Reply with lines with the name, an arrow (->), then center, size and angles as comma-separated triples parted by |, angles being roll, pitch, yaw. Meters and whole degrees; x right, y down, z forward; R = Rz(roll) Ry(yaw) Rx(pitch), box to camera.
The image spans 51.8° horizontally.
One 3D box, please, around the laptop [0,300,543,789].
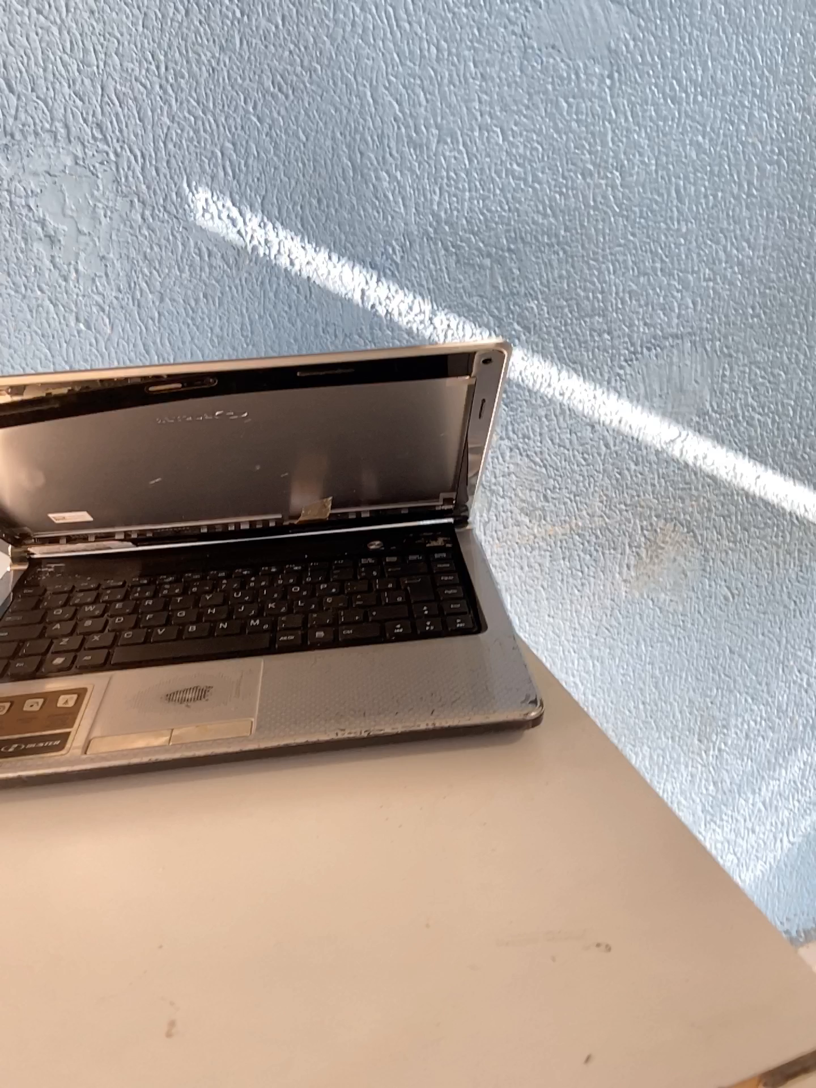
laptop -> -0.112, -0.024, 0.476 | 0.326, 0.160, 0.233 | -5, 25, -3
